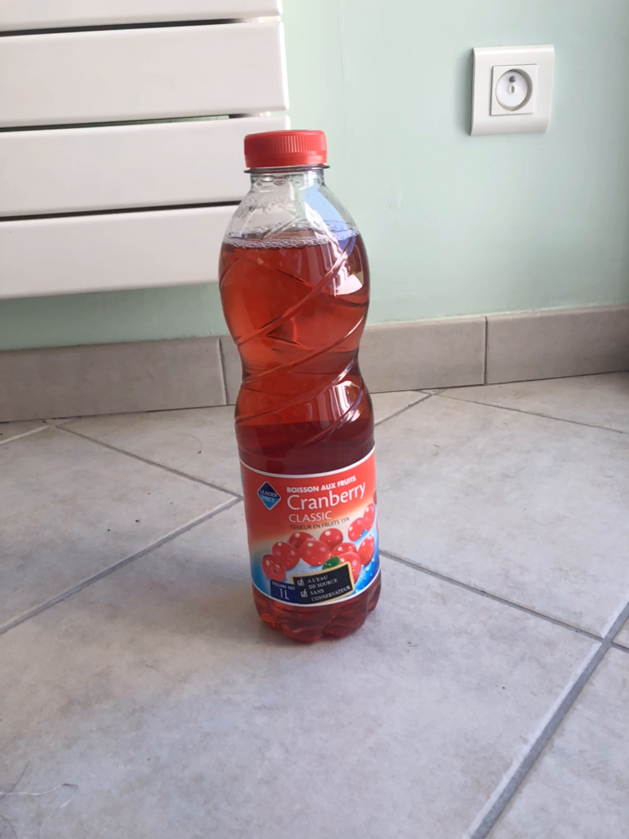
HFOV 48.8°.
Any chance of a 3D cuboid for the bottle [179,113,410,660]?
[{"bbox_3d":[-0.007,-0.014,0.361,0.090,0.259,0.080,-7,21,-10],"label":"bottle"}]
